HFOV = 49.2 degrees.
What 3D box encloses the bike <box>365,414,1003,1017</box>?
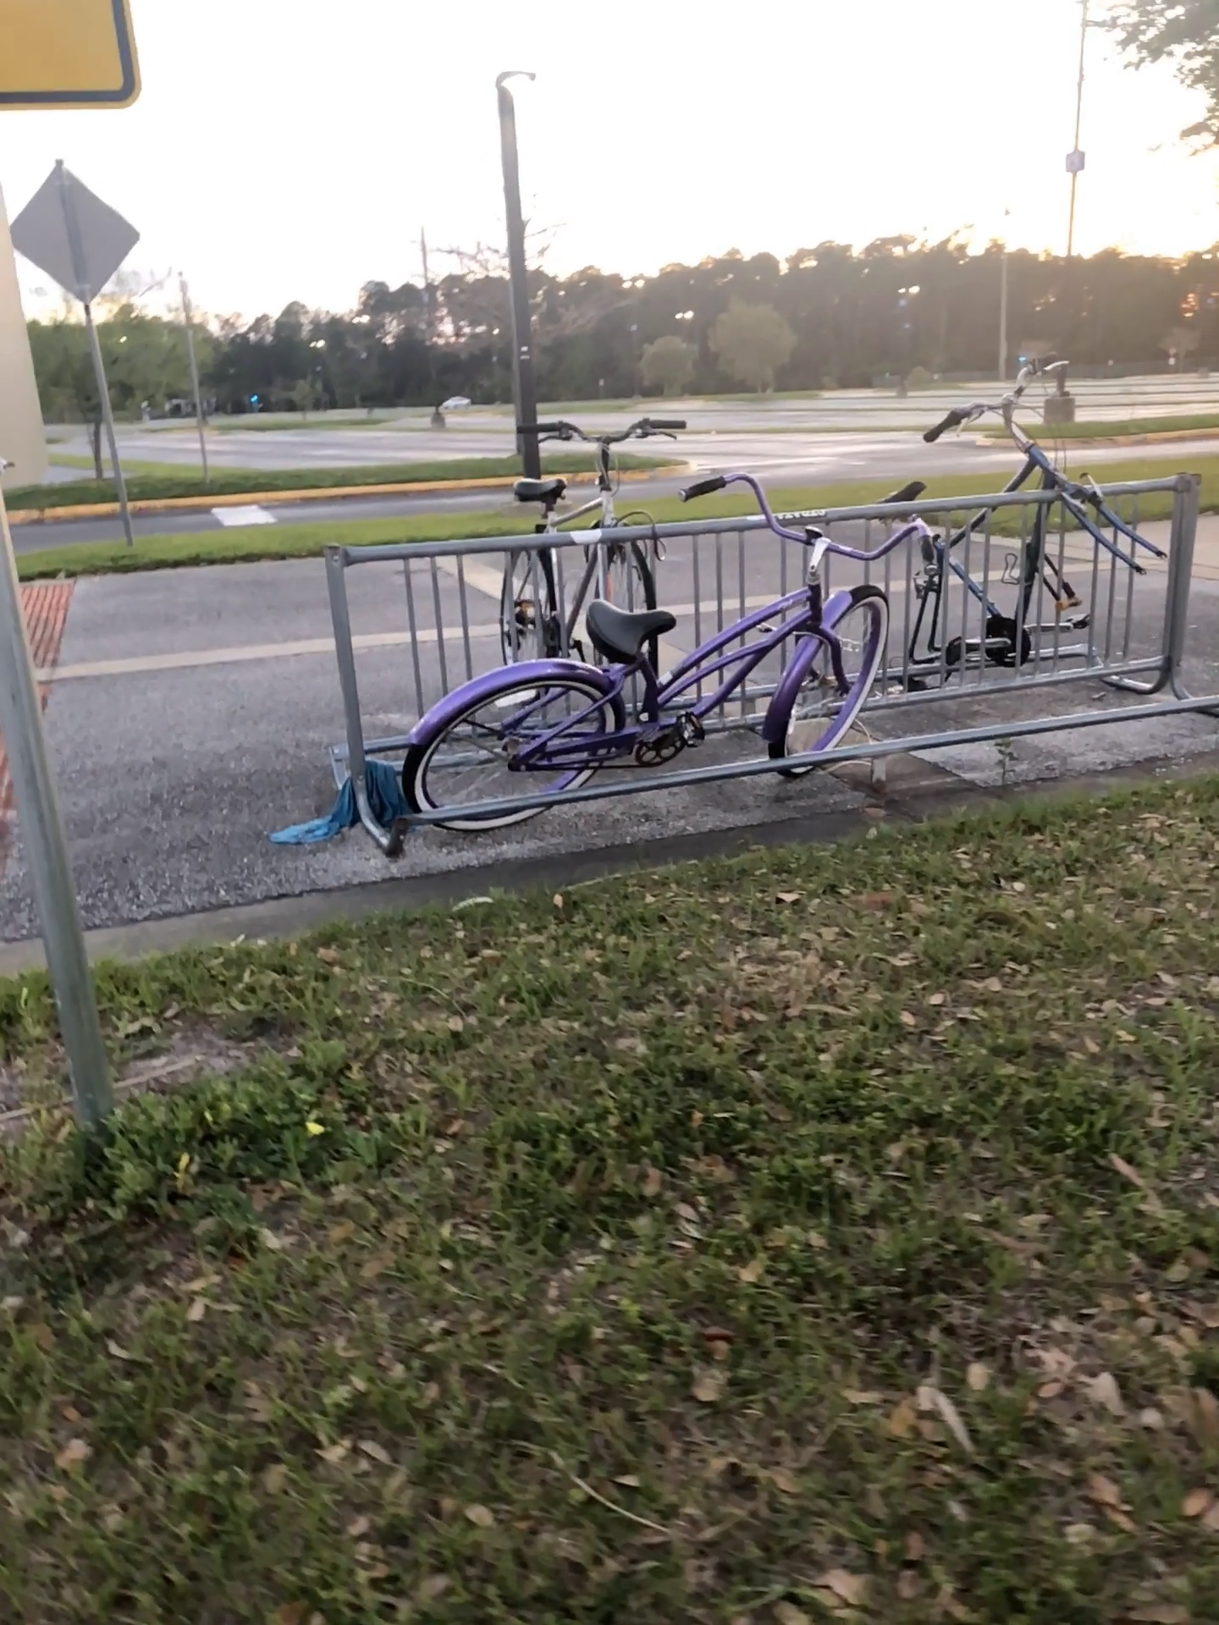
[{"bbox_3d":[0.231,-0.414,3.765,1.703,1.117,0.852,-16,21,-27],"label":"bike"}]
